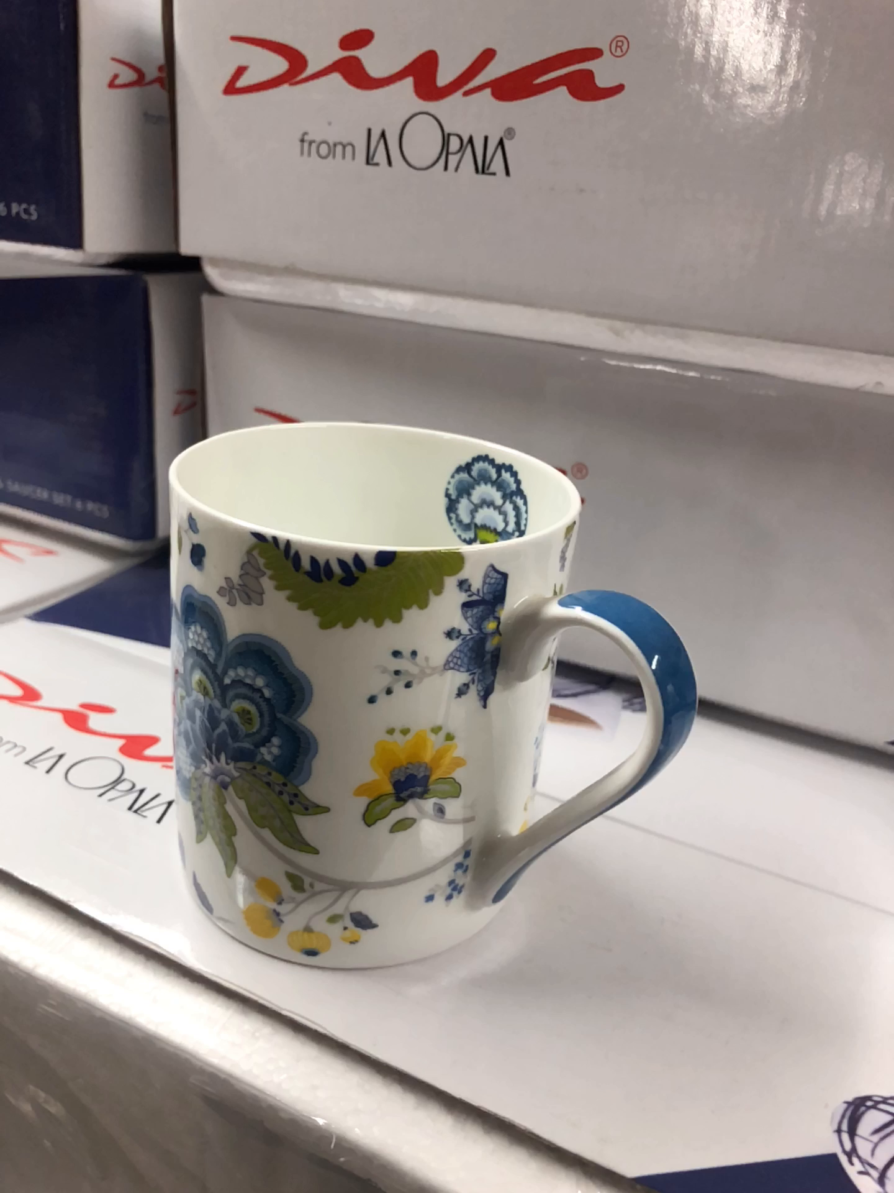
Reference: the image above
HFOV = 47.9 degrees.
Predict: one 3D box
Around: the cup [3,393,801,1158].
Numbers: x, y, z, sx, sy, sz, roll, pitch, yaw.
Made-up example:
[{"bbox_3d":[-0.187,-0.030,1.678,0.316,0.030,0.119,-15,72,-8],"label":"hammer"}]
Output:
[{"bbox_3d":[-0.007,0.018,0.187,0.110,0.080,0.080,17,27,26],"label":"cup"}]
